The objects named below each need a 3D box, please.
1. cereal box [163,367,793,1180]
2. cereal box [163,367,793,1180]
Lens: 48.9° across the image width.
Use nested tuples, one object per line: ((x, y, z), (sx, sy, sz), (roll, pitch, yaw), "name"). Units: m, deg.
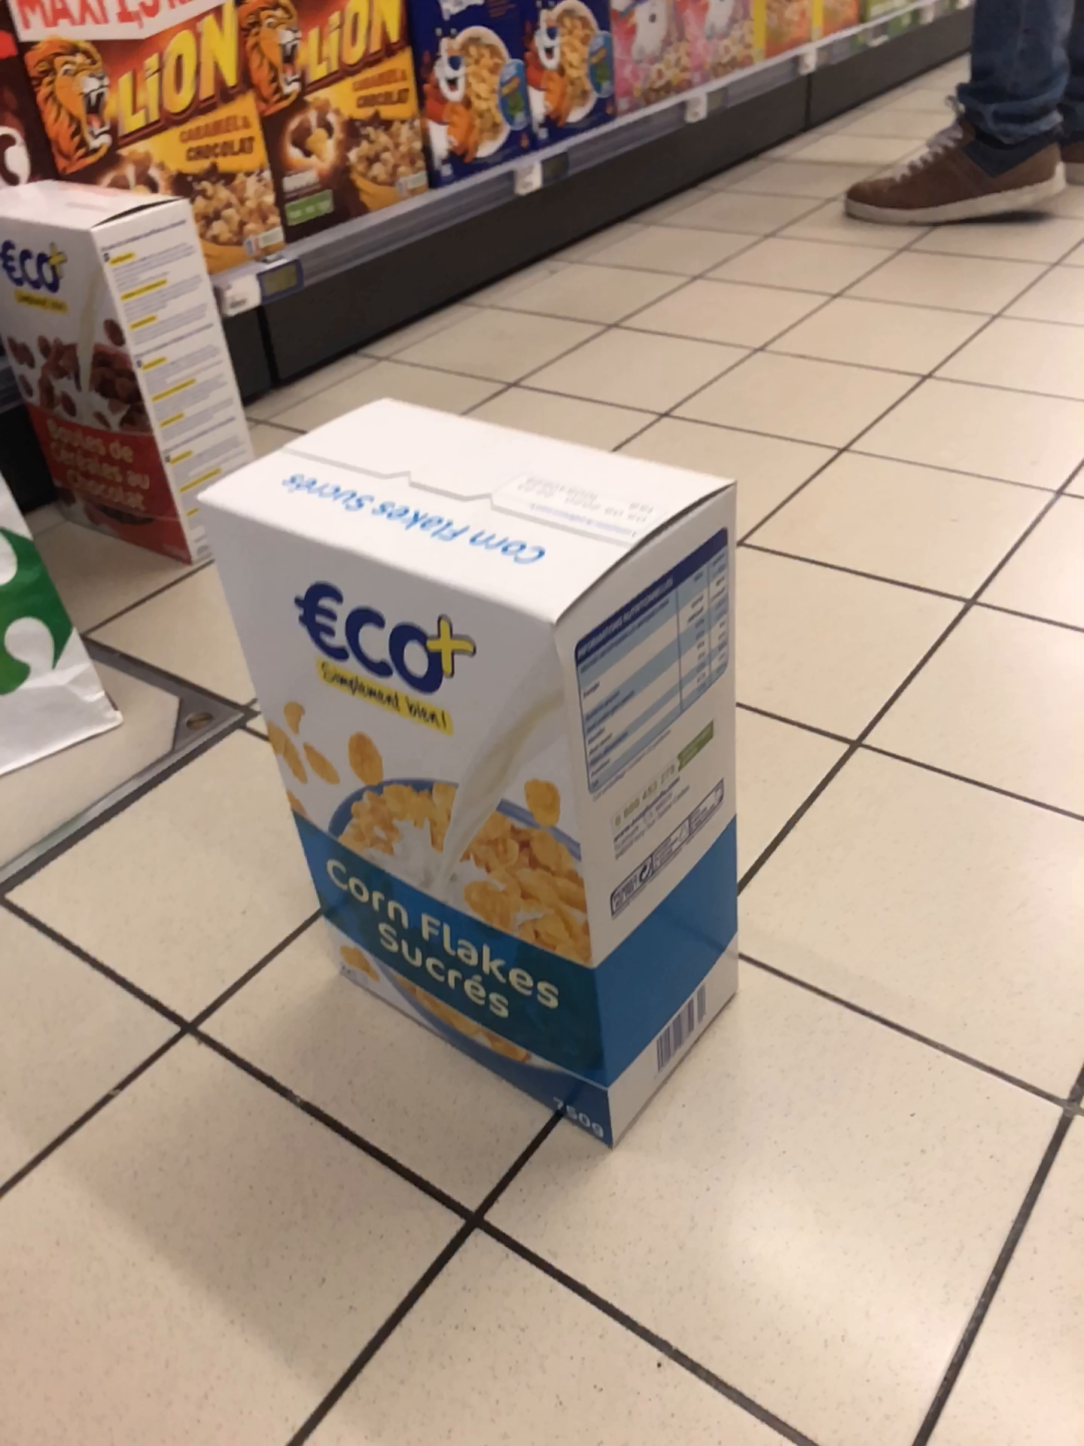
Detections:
((-0.015, 0.021, 0.547), (0.210, 0.298, 0.131), (22, 45, 33), "cereal box")
((-0.015, 0.021, 0.547), (0.210, 0.298, 0.131), (22, 45, 33), "cereal box")
